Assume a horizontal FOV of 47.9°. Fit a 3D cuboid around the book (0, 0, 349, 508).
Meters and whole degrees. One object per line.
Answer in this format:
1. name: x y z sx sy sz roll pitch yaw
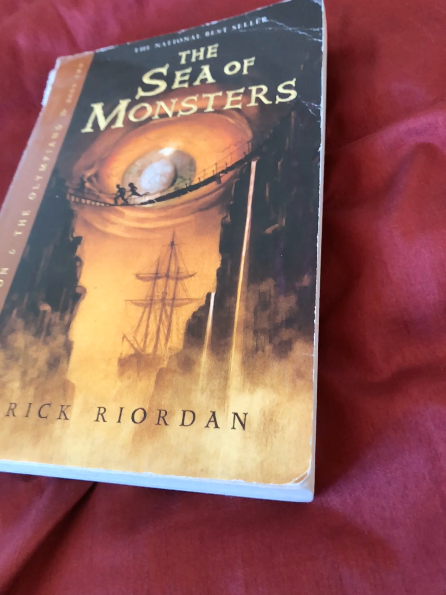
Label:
1. book: -0.029 -0.034 0.193 0.144 0.030 0.197 -2 63 20
